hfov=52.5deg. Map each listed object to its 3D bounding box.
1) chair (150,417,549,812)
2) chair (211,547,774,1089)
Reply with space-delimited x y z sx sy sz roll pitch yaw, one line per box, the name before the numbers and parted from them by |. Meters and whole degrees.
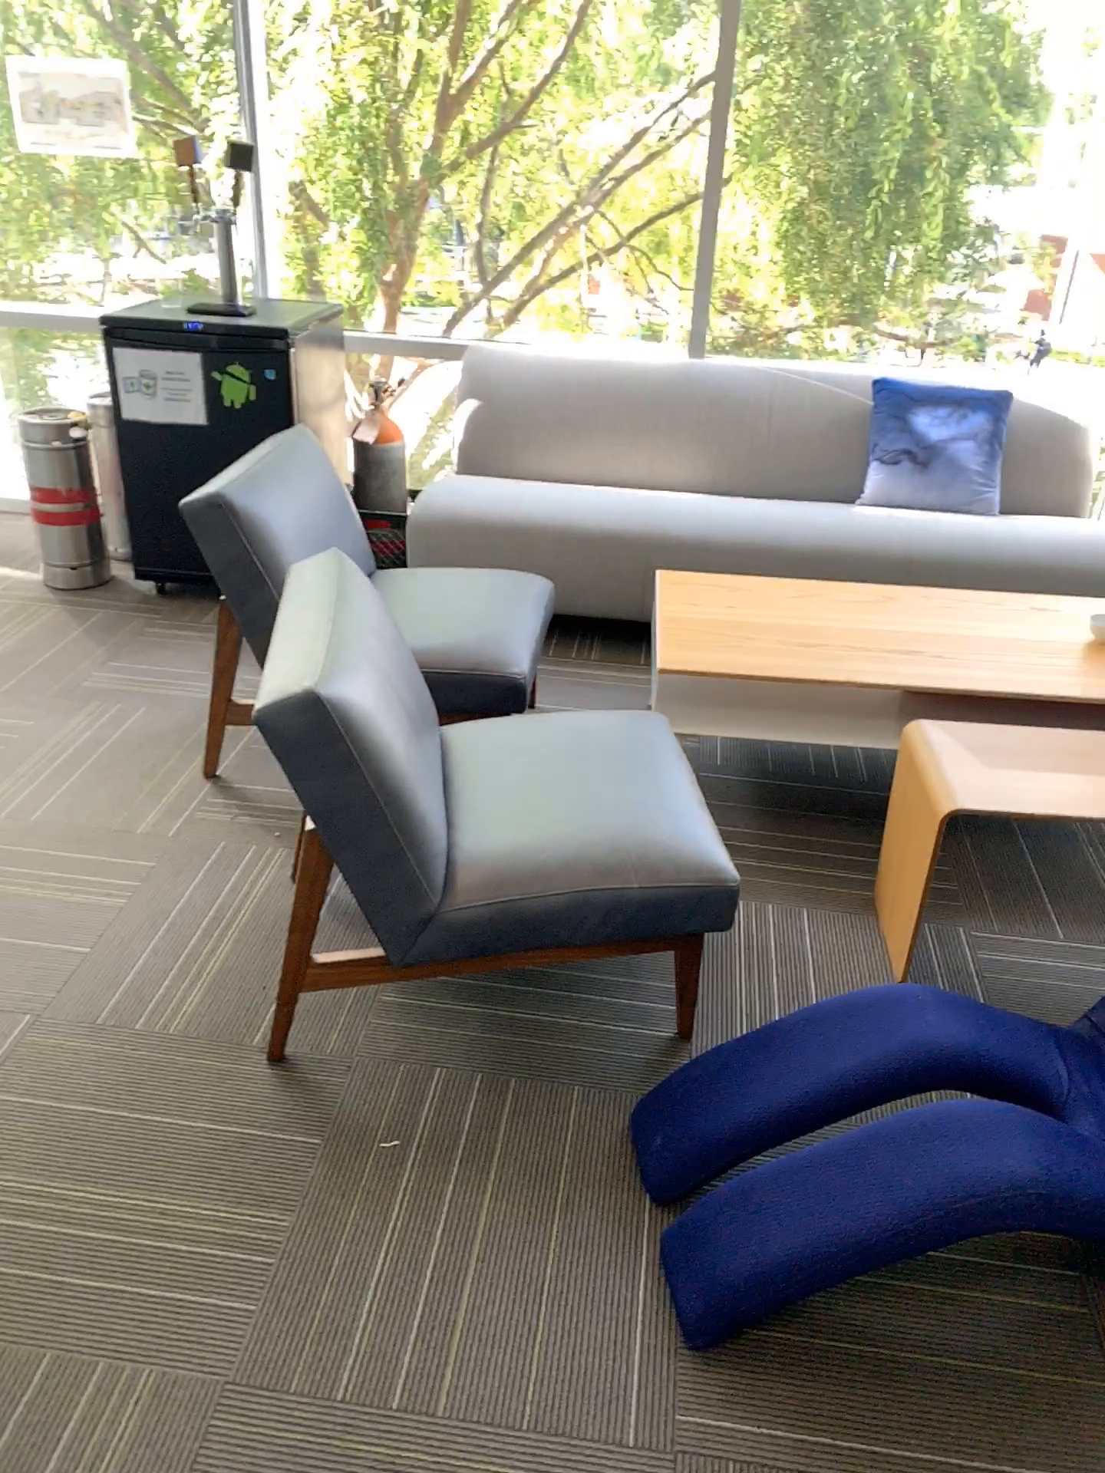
chair | -0.471 -0.353 2.989 0.850 0.766 0.744 4 28 1
chair | -0.139 0.117 2.166 0.850 0.766 0.684 -1 29 -8
